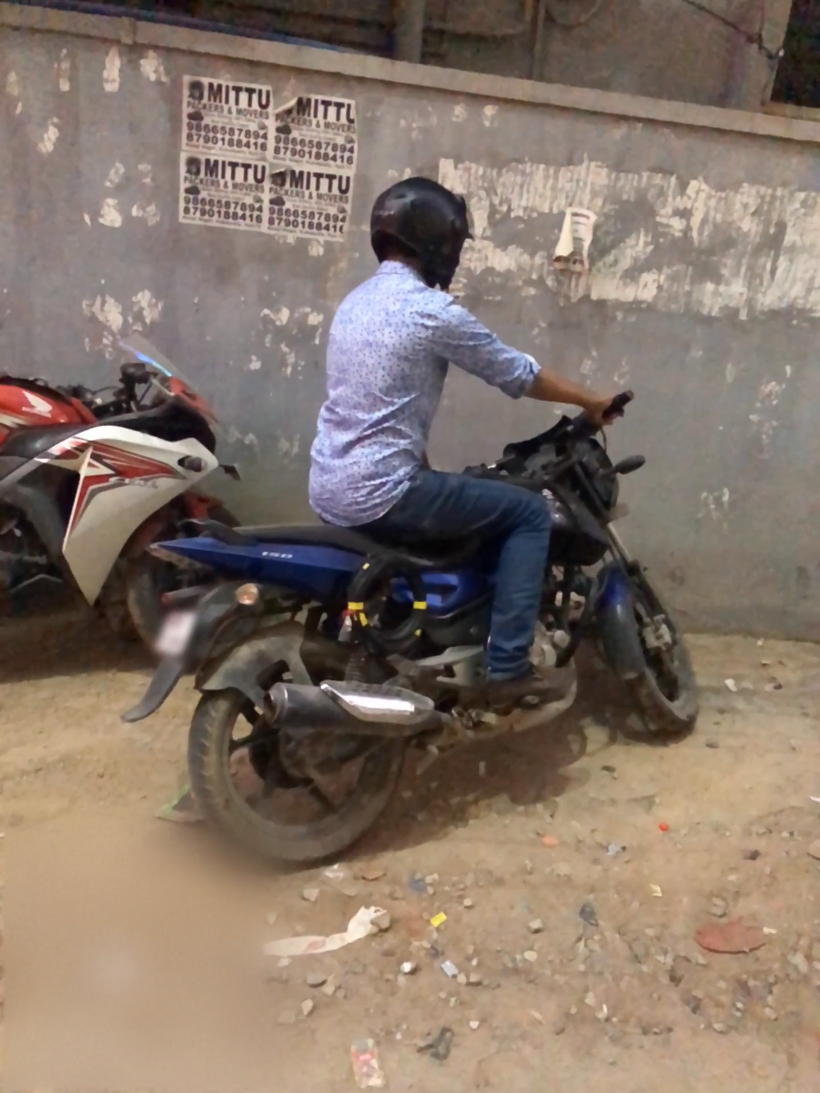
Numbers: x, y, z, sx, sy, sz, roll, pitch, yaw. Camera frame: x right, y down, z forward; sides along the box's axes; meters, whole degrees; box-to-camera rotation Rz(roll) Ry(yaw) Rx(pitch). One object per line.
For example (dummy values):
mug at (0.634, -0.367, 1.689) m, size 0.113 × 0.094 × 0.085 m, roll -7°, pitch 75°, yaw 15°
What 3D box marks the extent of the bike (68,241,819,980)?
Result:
bike at (0.121, -0.050, 2.415) m, size 1.507 × 1.113 × 1.094 m, roll -20°, pitch 32°, yaw -37°
